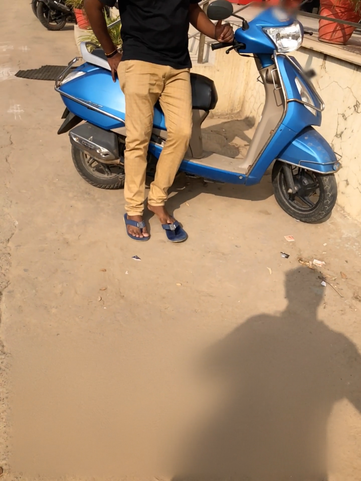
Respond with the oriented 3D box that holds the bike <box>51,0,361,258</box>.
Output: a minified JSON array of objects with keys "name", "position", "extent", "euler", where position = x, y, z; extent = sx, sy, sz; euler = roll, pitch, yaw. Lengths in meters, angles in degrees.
[{"name":"bike","position":[0.122,-0.677,2.187],"extent":[1.567,1.021,0.598],"euler":[14,34,14]}]
